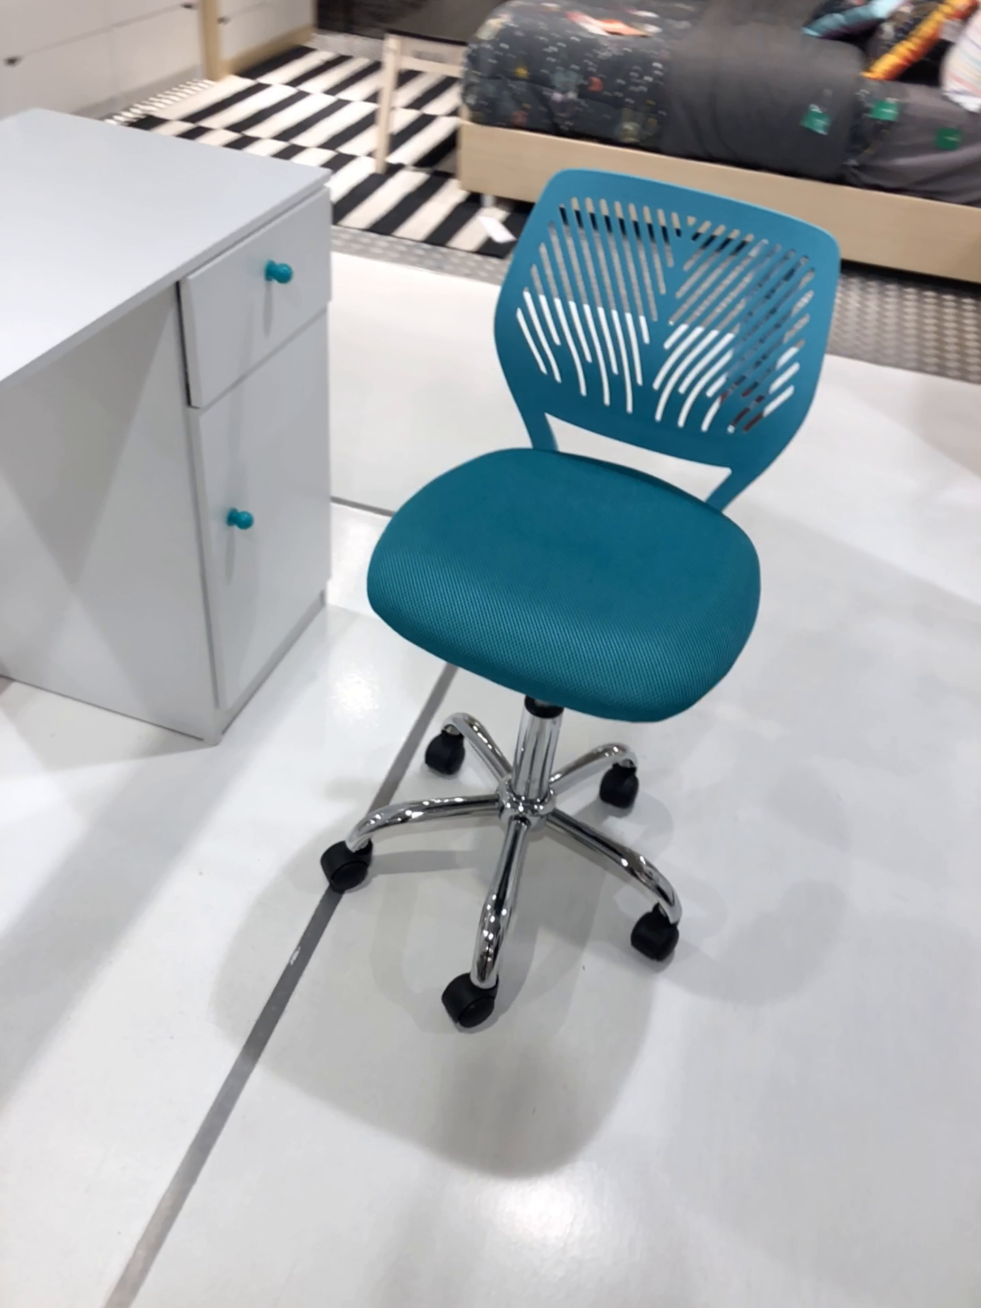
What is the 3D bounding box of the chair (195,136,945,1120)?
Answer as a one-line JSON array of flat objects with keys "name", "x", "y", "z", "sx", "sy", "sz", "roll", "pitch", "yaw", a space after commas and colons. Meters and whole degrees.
[{"name": "chair", "x": 0.076, "y": -0.028, "z": 1.175, "sx": 0.480, "sy": 0.803, "sz": 0.534, "roll": 20, "pitch": 42, "yaw": 16}]
